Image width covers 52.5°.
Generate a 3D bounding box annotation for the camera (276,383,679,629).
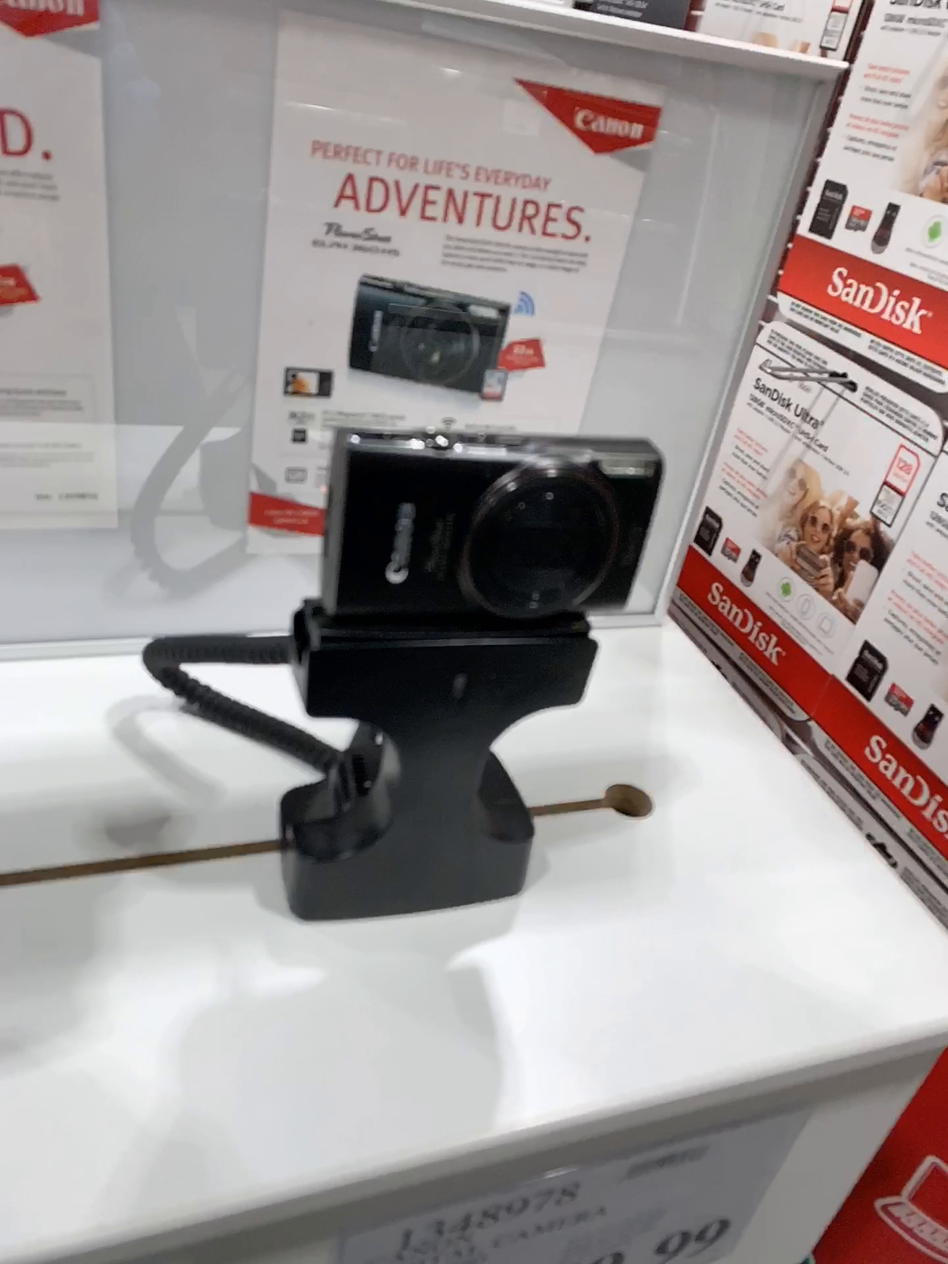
[{"bbox_3d":[-0.002,-0.038,0.298,0.110,0.060,0.040,-1,33,-19],"label":"camera"}]
